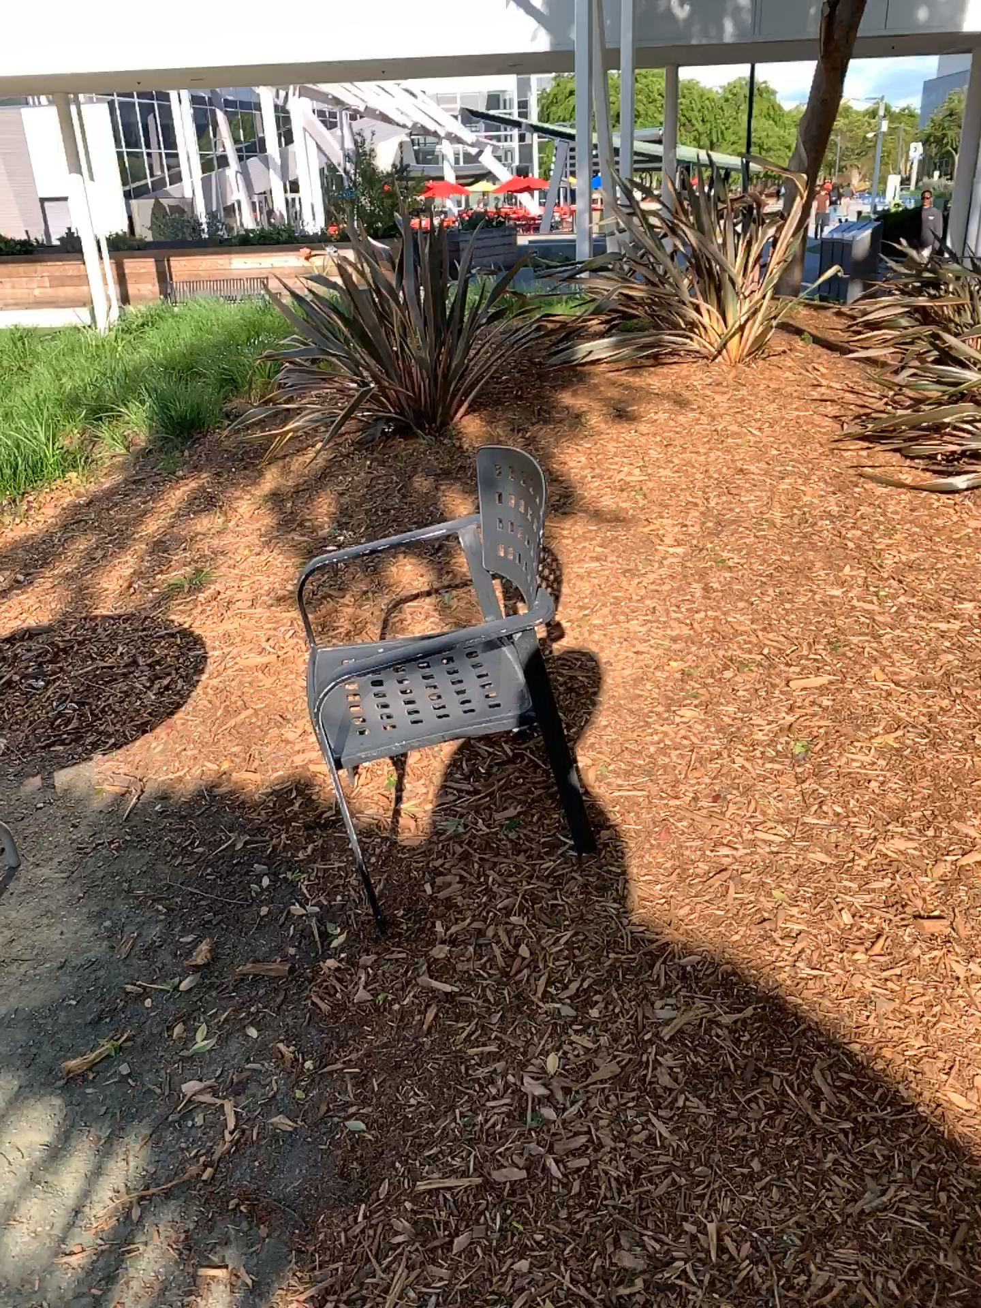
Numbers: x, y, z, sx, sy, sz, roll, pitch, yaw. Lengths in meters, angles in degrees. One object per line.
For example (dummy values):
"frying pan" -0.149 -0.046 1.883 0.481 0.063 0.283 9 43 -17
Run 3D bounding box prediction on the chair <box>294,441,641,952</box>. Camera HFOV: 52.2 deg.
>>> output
"chair" -0.059 0.045 1.828 0.500 0.716 0.523 -7 25 -9
